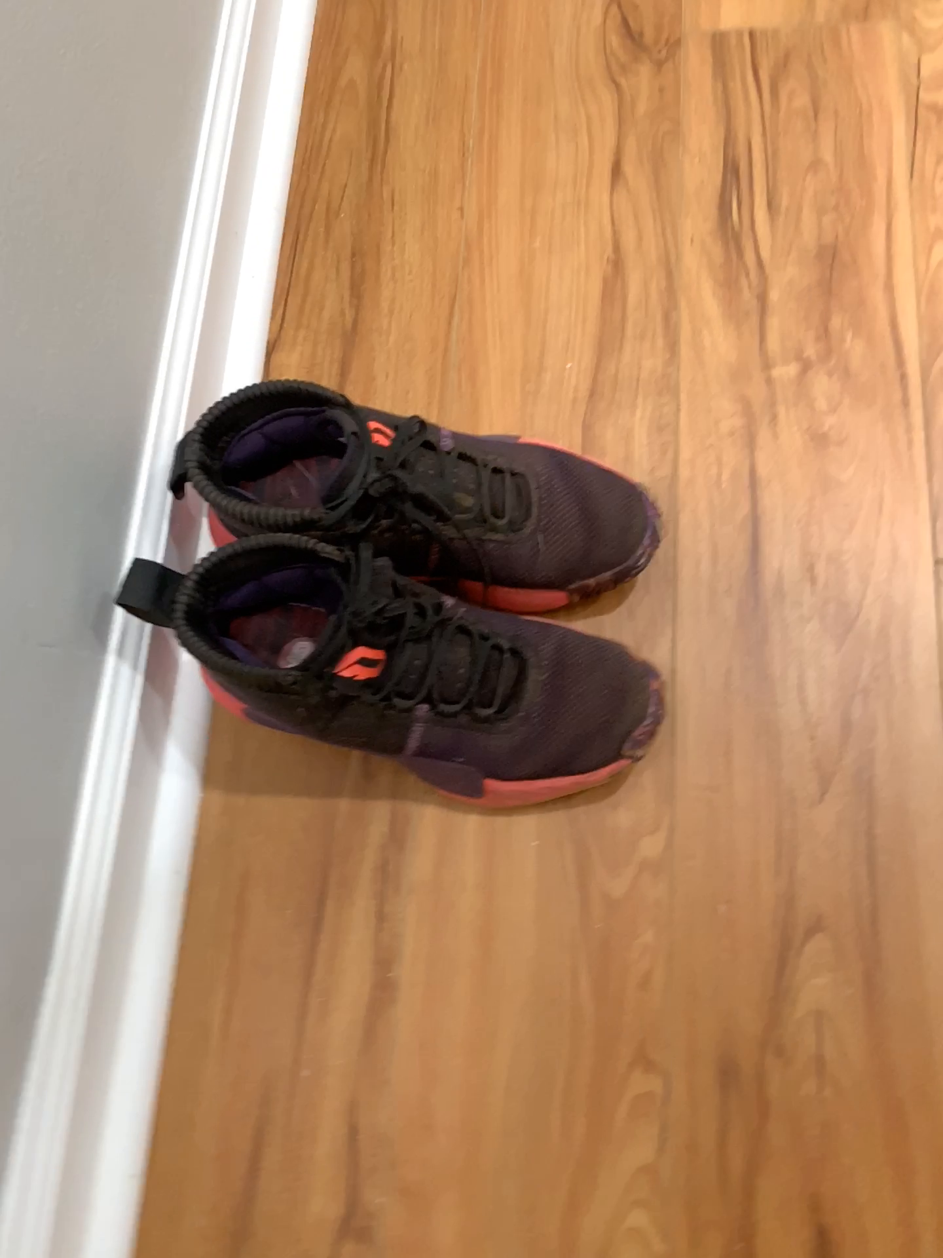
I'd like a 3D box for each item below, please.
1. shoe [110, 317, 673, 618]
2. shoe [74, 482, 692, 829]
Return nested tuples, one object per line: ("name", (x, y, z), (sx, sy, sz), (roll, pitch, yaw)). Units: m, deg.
("shoe", (-0.034, -0.088, 0.558), (0.285, 0.132, 0.120), (2, 74, 9))
("shoe", (-0.037, 0.018, 0.525), (0.285, 0.132, 0.120), (8, 75, 11))
